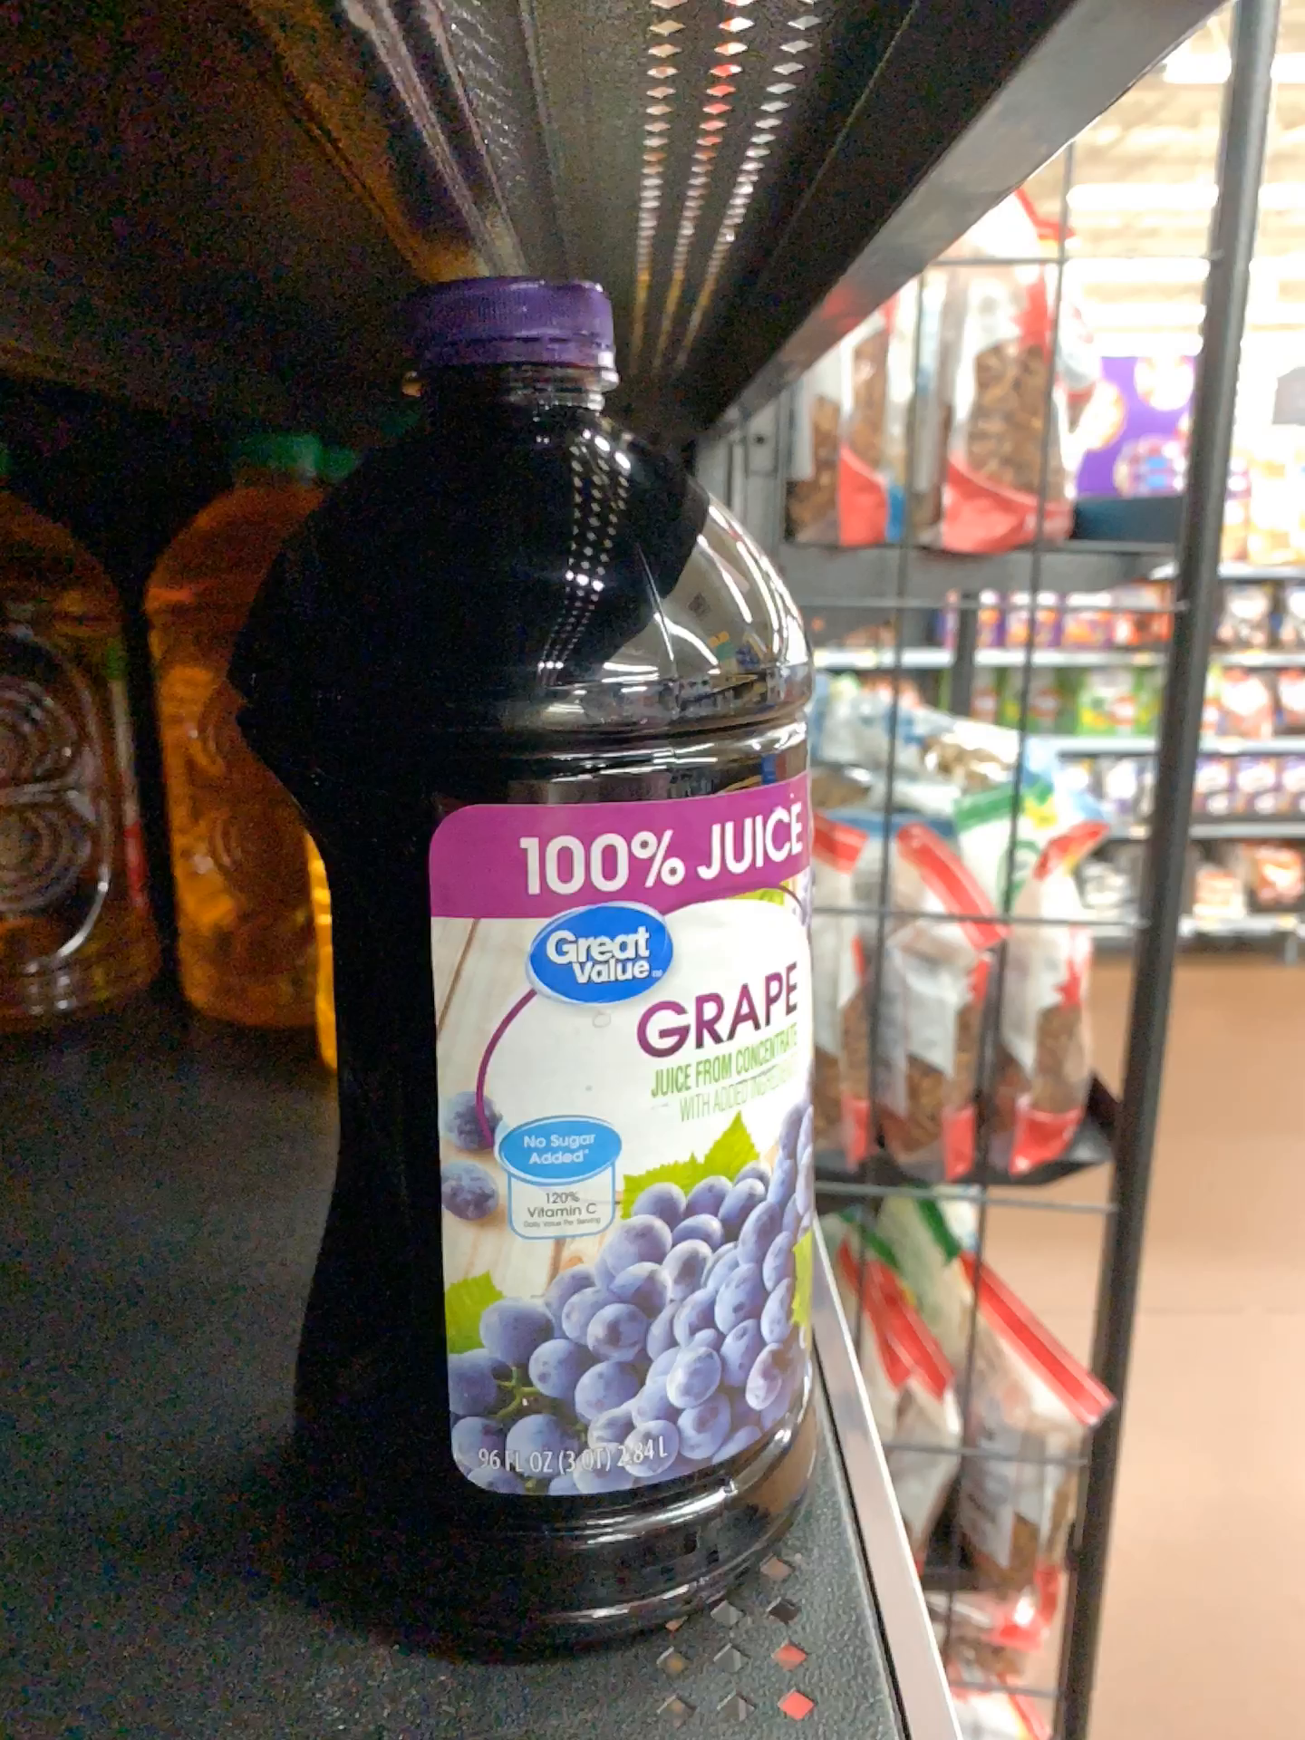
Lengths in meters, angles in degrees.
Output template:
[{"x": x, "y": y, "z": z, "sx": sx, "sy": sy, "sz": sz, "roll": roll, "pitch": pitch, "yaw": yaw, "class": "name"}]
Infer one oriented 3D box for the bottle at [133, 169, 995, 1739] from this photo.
[{"x": -0.027, "y": 0.014, "z": 0.316, "sx": 0.130, "sy": 0.279, "sz": 0.140, "roll": 0, "pitch": 13, "yaw": 0, "class": "bottle"}]
